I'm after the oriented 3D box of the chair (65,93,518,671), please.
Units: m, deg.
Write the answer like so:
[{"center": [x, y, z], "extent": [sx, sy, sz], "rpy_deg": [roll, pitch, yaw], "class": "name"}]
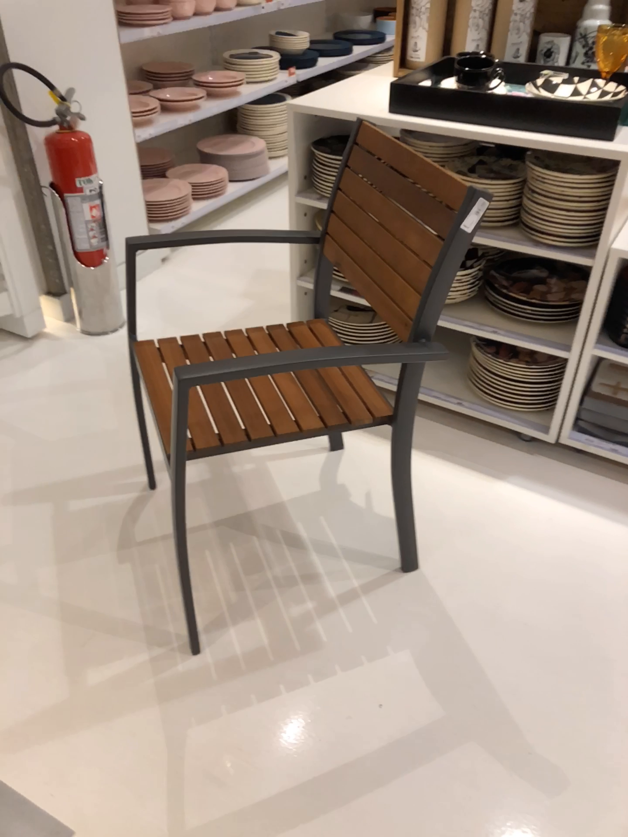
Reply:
[{"center": [-0.082, -0.096, 1.275], "extent": [0.531, 0.783, 0.594], "rpy_deg": [-12, 37, -15], "class": "chair"}]
